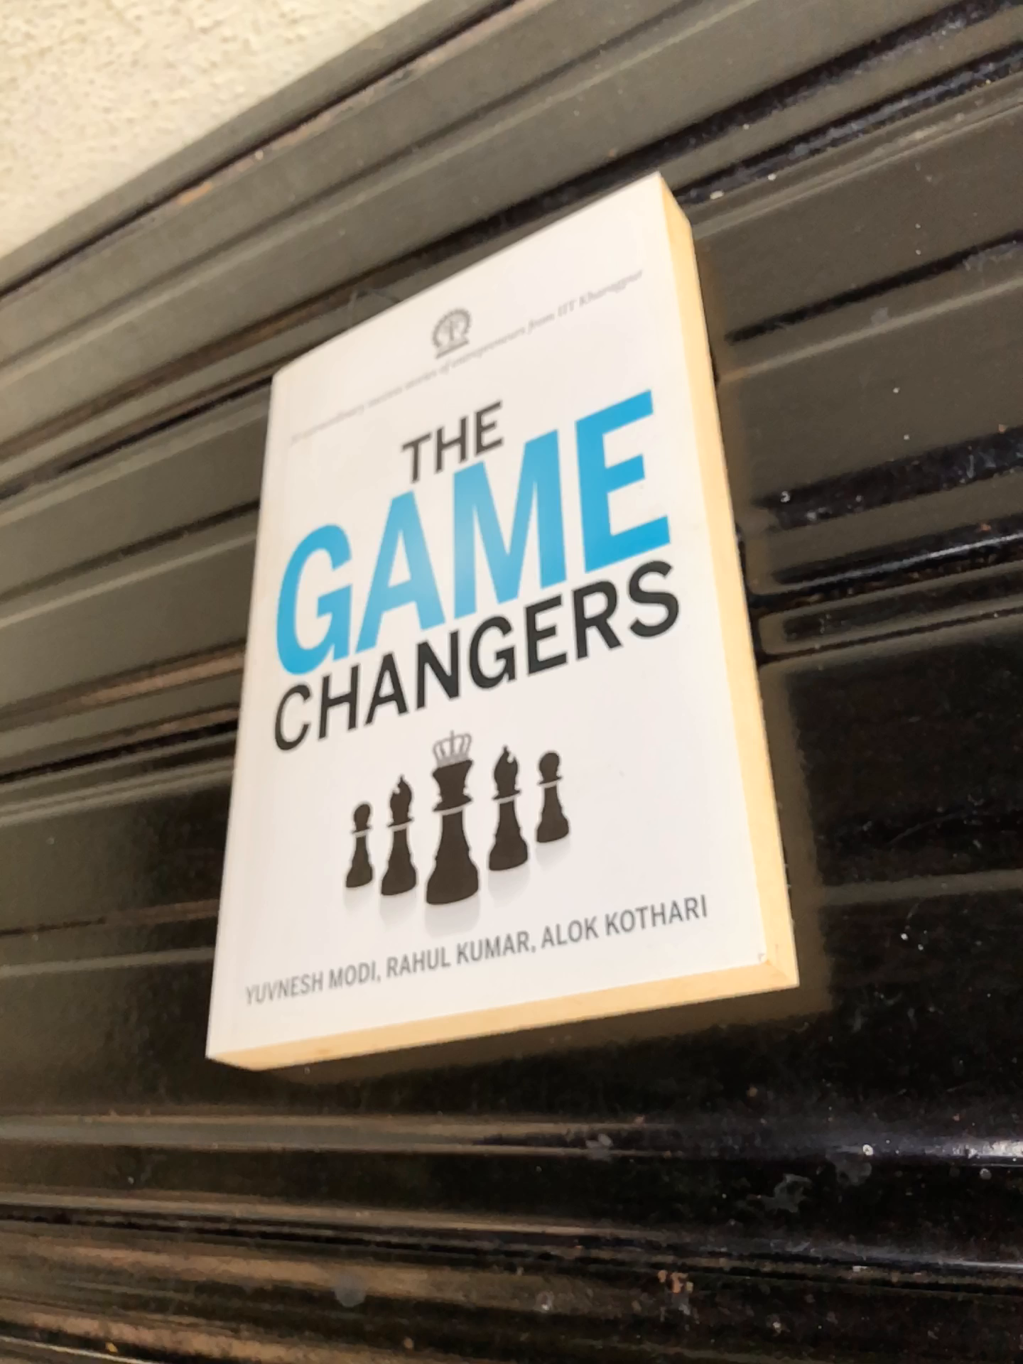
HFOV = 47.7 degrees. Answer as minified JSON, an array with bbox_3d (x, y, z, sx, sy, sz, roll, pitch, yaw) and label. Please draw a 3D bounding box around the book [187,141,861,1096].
[{"bbox_3d":[-0.006,-0.019,0.282,0.140,0.030,0.210,-18,57,28],"label":"book"}]
